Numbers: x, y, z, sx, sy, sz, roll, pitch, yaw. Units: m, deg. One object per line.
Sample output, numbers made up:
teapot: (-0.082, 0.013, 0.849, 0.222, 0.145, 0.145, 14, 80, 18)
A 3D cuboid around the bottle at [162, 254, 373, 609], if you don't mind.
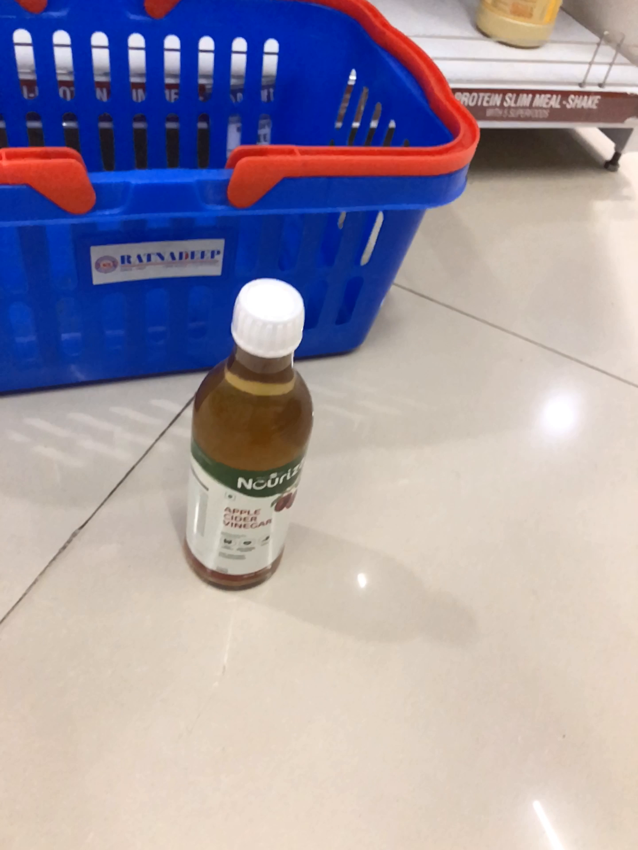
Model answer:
bottle: (-0.043, 0.016, 0.413, 0.080, 0.219, 0.070, -11, 53, -21)
